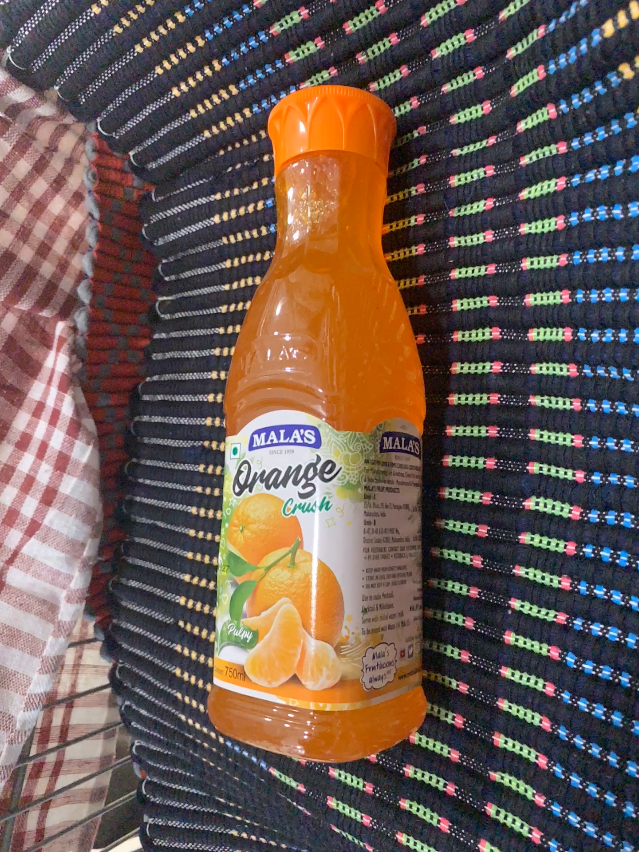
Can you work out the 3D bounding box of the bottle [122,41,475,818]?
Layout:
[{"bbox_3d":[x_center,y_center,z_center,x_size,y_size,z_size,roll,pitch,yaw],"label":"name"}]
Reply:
[{"bbox_3d":[-0.002,-0.001,0.241,0.080,0.080,0.220,-2,81,38],"label":"bottle"}]
